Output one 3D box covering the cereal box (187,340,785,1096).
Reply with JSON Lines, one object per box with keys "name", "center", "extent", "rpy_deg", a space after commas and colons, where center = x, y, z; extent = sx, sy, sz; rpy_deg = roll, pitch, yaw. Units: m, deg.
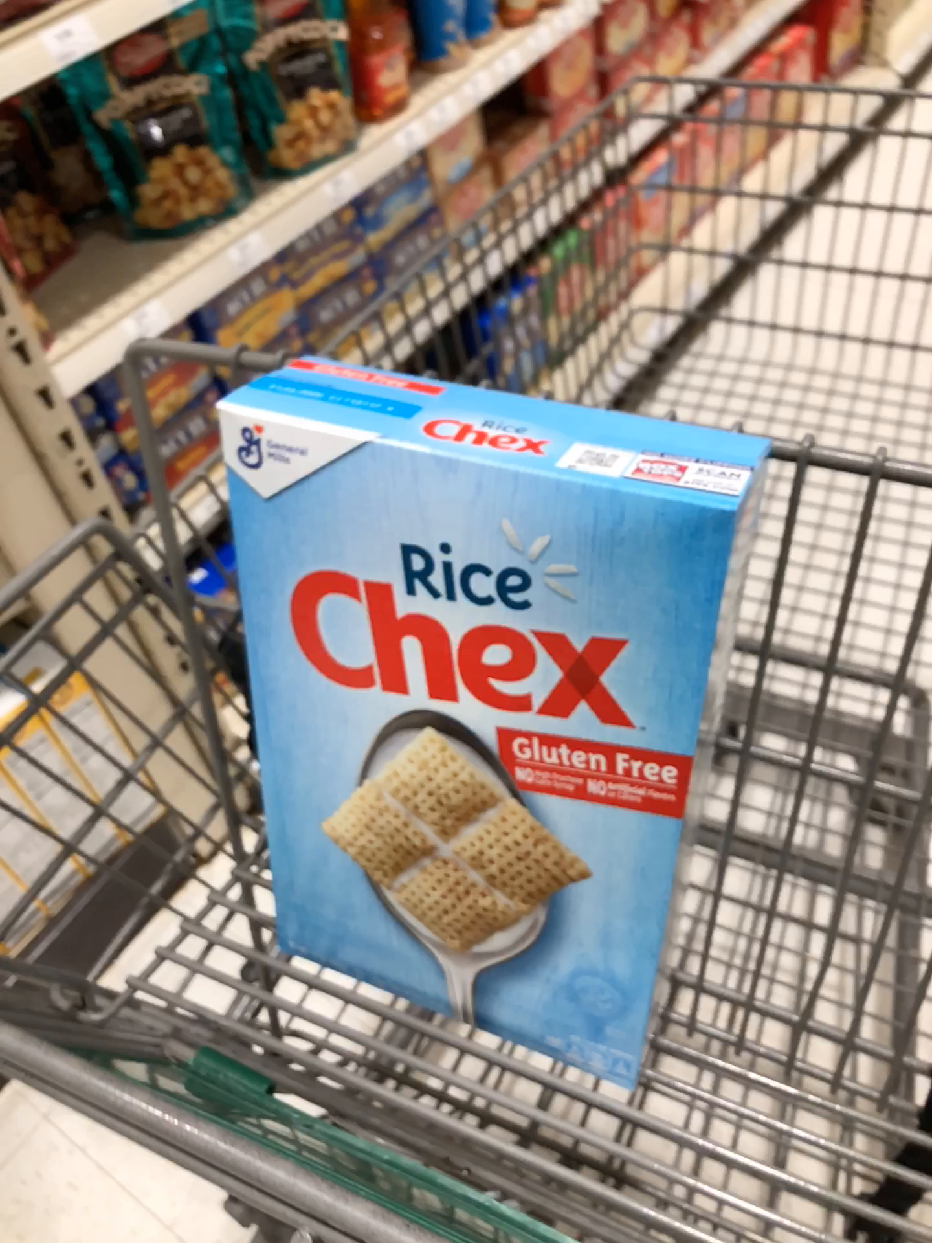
{"name": "cereal box", "center": [0.001, 0.047, 0.438], "extent": [0.200, 0.289, 0.060], "rpy_deg": [14, 34, 20]}
